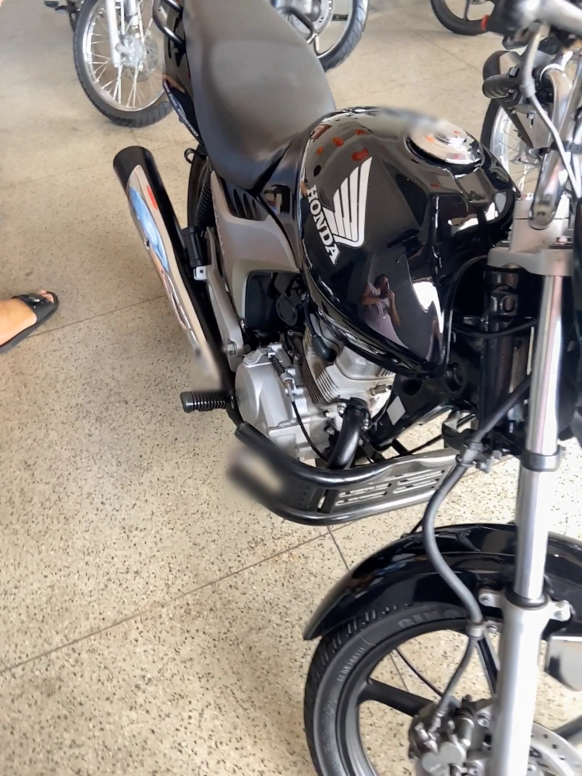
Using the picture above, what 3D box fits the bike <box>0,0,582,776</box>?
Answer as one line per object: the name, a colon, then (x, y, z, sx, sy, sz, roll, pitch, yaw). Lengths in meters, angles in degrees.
bike: (0.213, -0.205, 1.081, 0.774, 1.138, 1.743, -24, 52, -15)
